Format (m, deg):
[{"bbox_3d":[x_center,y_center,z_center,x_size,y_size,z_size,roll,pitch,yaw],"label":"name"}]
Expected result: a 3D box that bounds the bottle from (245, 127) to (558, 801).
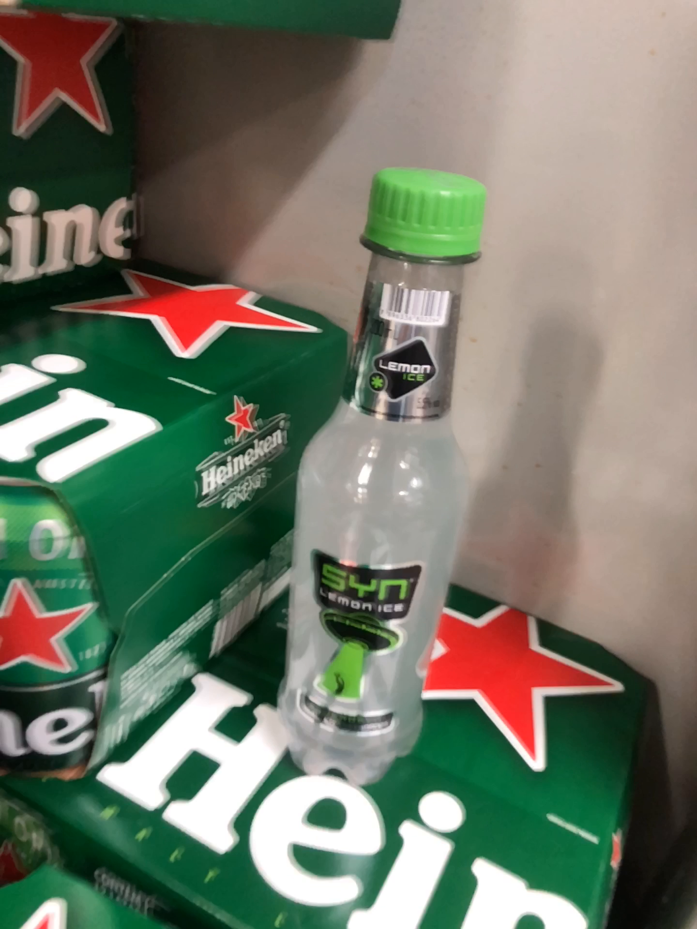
[{"bbox_3d":[0.010,0.010,0.252,0.060,0.208,0.060,6,30,-4],"label":"bottle"}]
